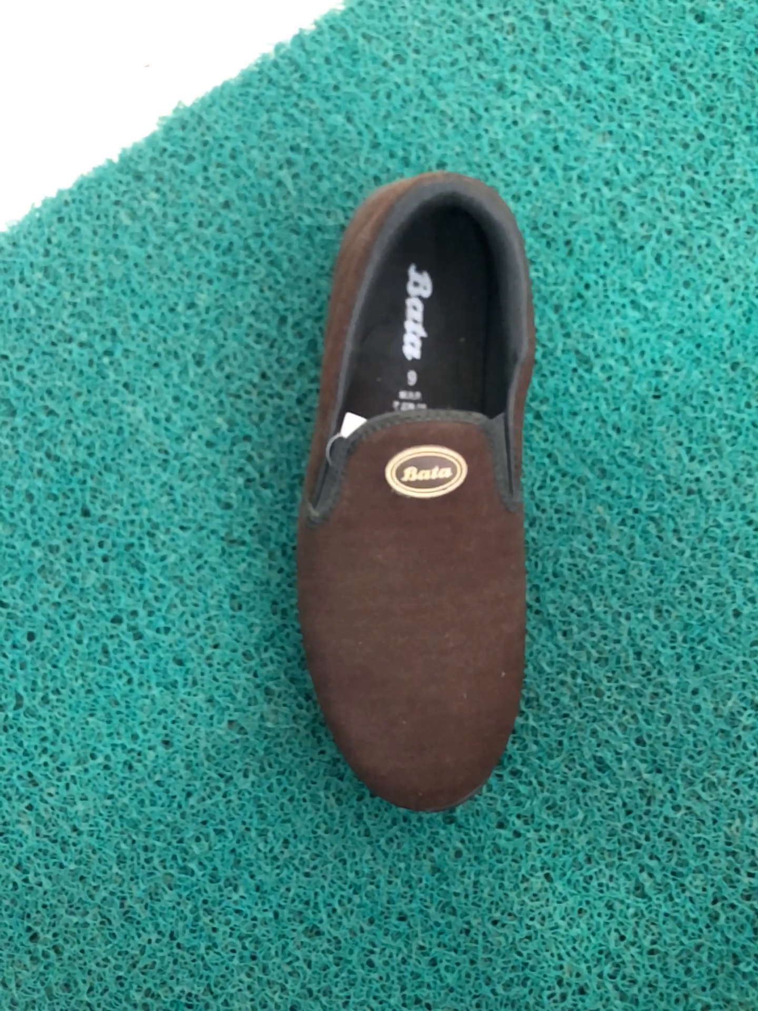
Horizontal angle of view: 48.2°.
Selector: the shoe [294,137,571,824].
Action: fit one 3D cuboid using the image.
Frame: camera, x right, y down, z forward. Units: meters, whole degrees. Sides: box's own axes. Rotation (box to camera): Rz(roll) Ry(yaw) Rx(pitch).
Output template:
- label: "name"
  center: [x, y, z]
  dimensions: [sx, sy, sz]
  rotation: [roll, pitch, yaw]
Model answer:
- label: "shoe"
  center: [0.021, -0.010, 0.369]
  dimensions: [0.100, 0.100, 0.260]
  rotation: [0, 84, 0]
